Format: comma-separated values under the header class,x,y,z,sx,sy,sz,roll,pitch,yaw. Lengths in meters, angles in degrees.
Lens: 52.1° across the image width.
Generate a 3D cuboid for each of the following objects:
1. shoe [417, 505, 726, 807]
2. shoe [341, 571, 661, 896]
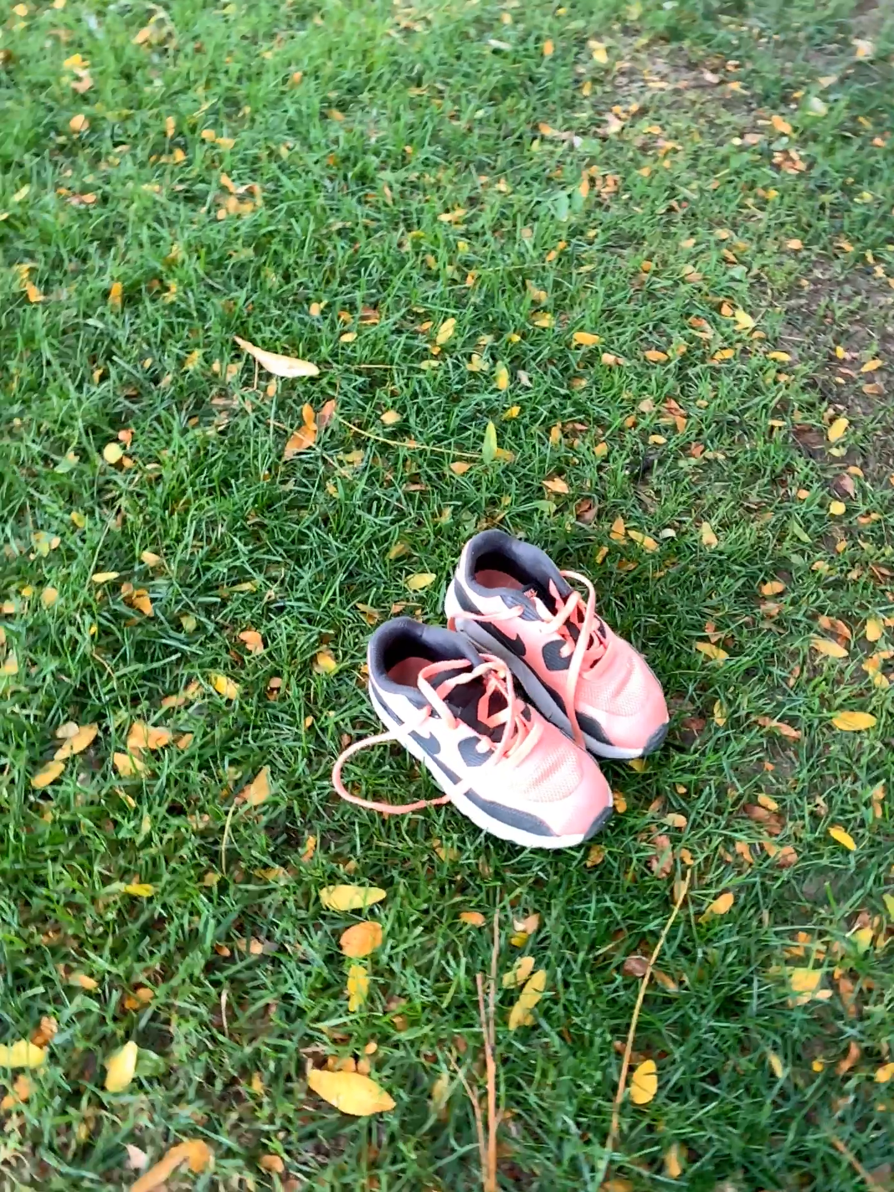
class,x,y,z,sx,sy,sz,roll,pitch,yaw
shoe,0.078,0.036,0.629,0.080,0.070,0.200,-38,63,-22
shoe,0.029,0.085,0.597,0.080,0.070,0.200,-38,63,-22
